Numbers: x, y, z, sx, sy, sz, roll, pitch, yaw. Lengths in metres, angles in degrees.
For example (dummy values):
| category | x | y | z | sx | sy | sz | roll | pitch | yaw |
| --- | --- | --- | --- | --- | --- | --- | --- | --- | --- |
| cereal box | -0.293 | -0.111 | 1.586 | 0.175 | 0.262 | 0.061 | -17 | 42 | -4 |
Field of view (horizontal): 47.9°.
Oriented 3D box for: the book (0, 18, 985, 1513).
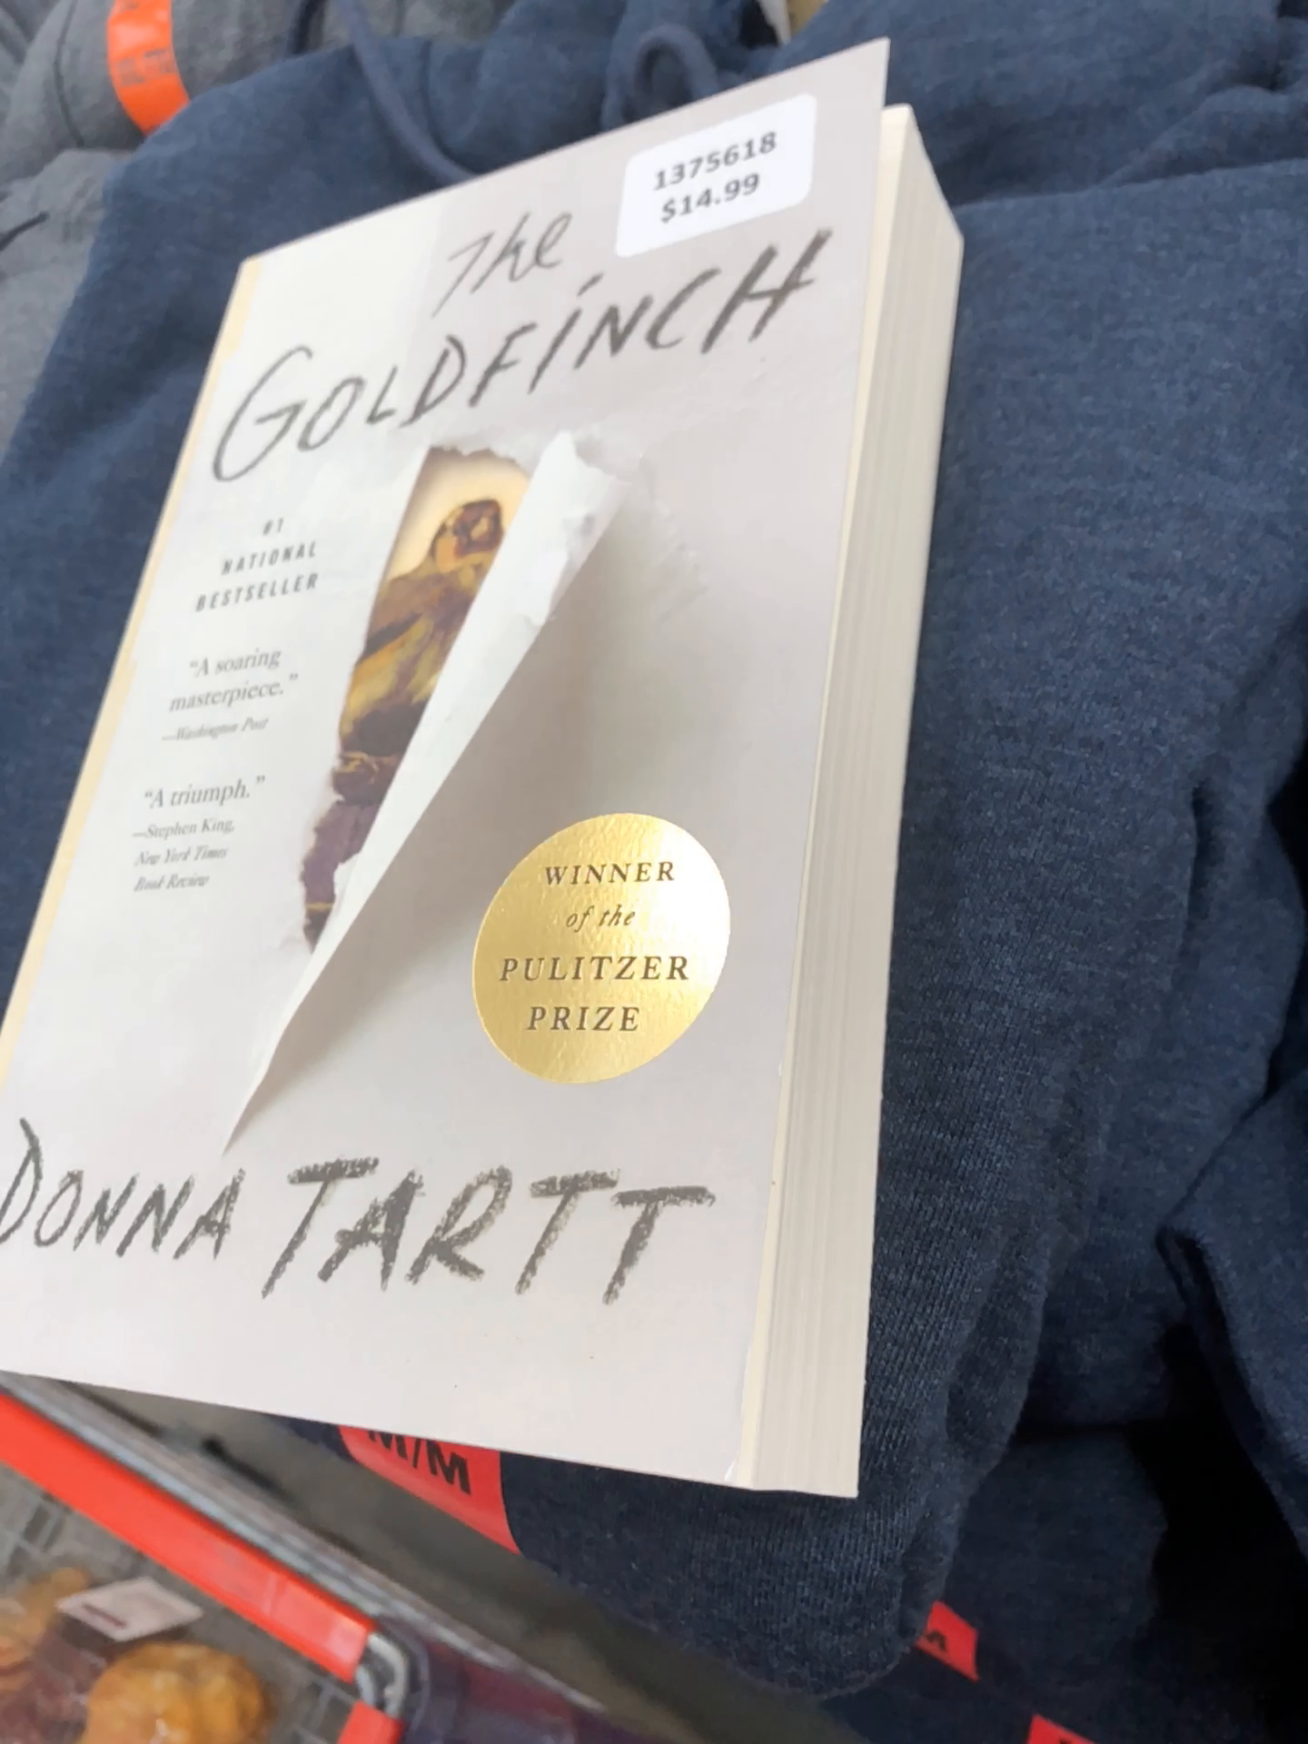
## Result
| category | x | y | z | sx | sy | sz | roll | pitch | yaw |
| --- | --- | --- | --- | --- | --- | --- | --- | --- | --- |
| book | -0.033 | -0.023 | 0.251 | 0.158 | 0.041 | 0.222 | -4 | 65 | 28 |
